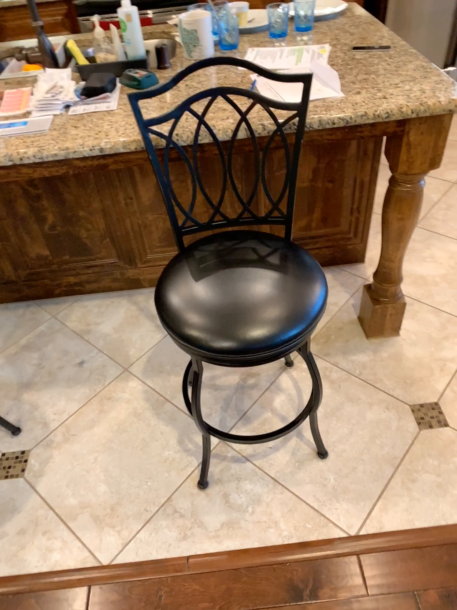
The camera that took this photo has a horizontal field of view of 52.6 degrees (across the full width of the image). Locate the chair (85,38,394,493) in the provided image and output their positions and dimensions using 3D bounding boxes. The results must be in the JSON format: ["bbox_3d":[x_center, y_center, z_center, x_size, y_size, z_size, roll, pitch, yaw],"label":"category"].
[{"bbox_3d":[0.029,-0.019,1.239,0.467,1.068,0.507,-9,44,-3],"label":"chair"}]

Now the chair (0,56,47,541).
[{"bbox_3d":[-1.008,0.075,1.194,0.554,1.098,0.590,-5,44,2],"label":"chair"}]
